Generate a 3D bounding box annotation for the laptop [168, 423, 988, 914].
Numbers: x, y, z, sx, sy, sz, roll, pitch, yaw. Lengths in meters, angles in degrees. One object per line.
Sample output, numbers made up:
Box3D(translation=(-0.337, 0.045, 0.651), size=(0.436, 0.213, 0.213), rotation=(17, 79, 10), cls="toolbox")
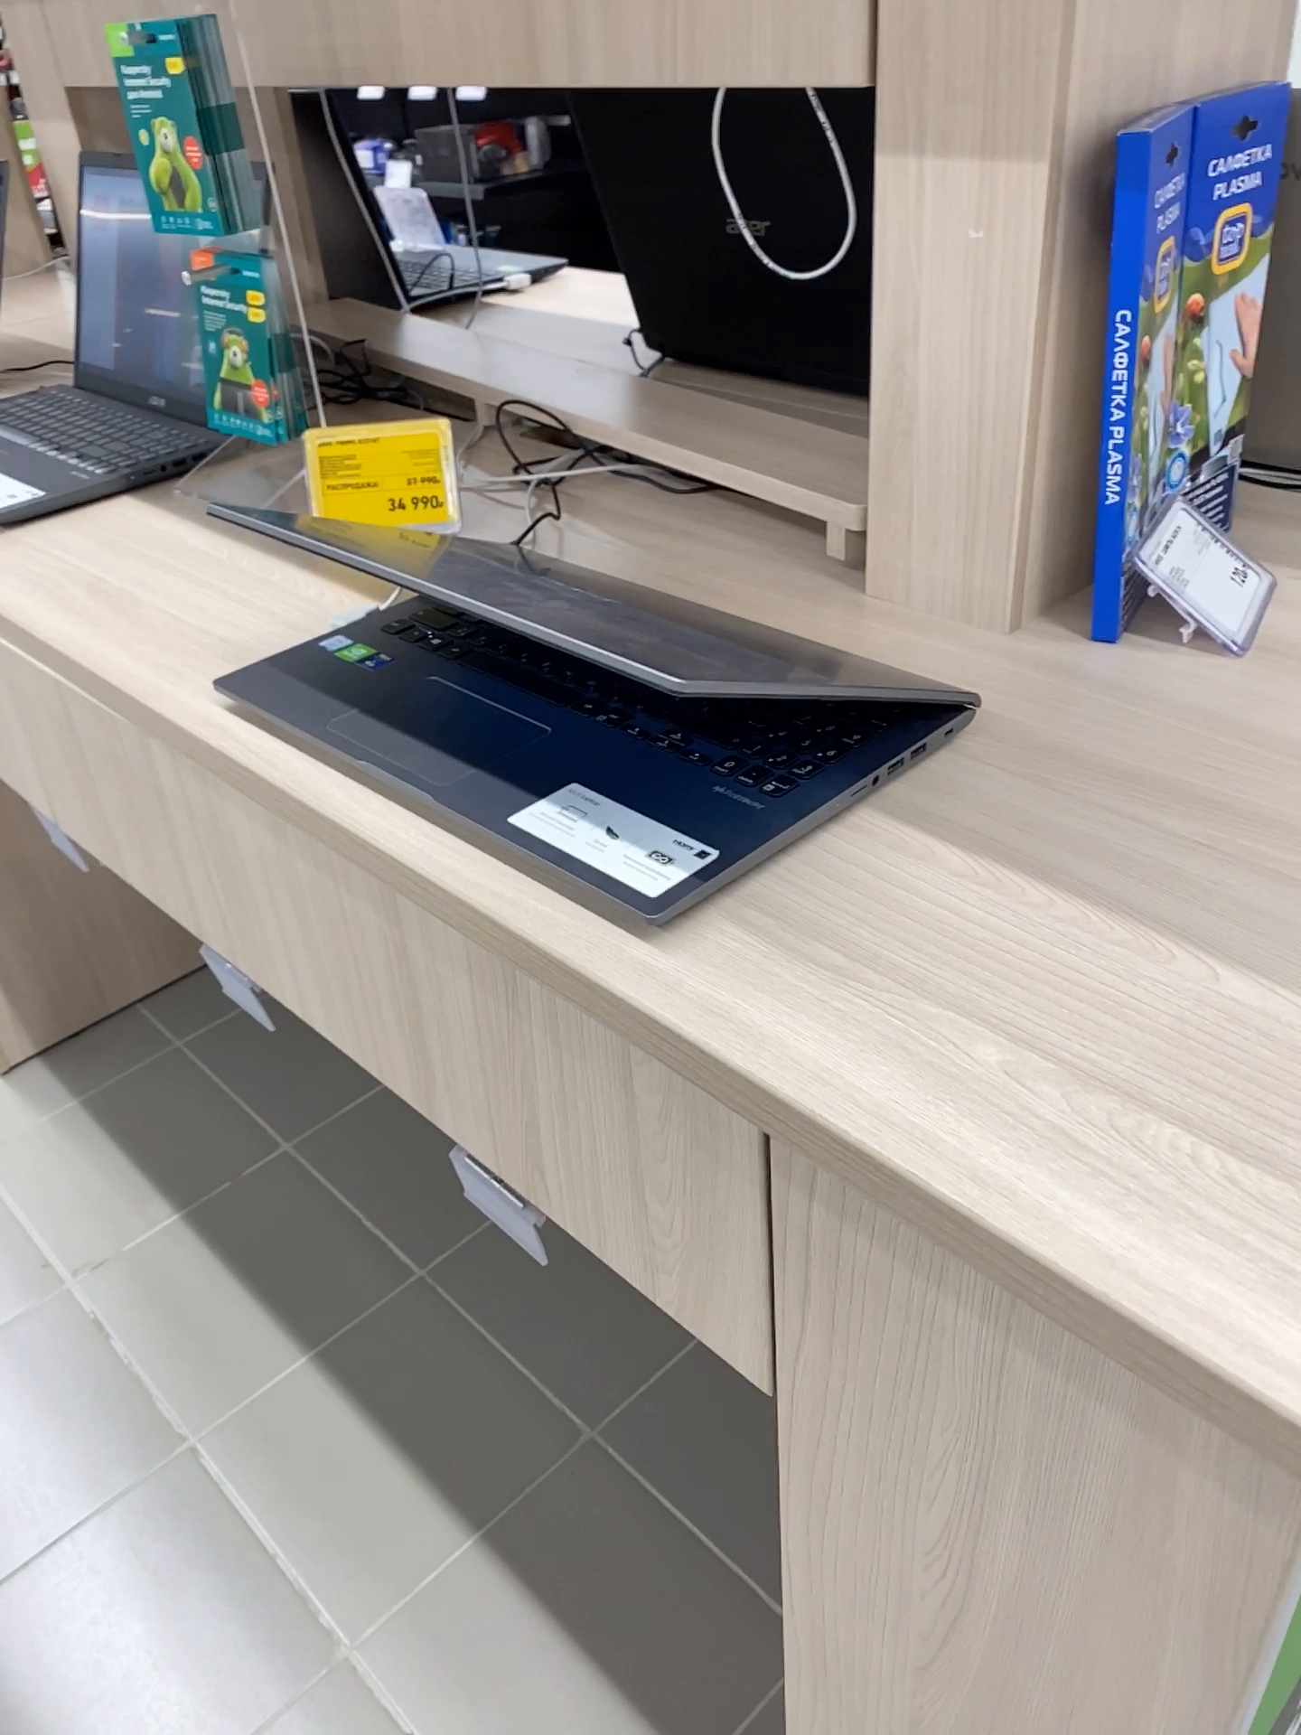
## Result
Box3D(translation=(-0.046, -0.132, 0.690), size=(0.354, 0.088, 0.236), rotation=(26, 44, 37), cls="laptop")
